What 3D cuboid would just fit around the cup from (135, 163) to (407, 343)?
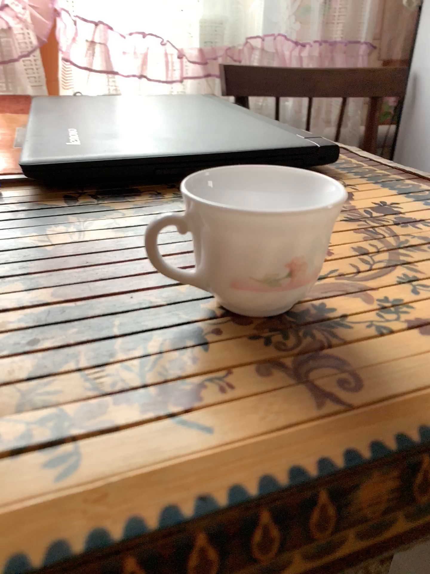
[{"bbox_3d":[0.014,-0.019,0.172,0.080,0.039,0.068,-6,29,-13],"label":"cup"}]
